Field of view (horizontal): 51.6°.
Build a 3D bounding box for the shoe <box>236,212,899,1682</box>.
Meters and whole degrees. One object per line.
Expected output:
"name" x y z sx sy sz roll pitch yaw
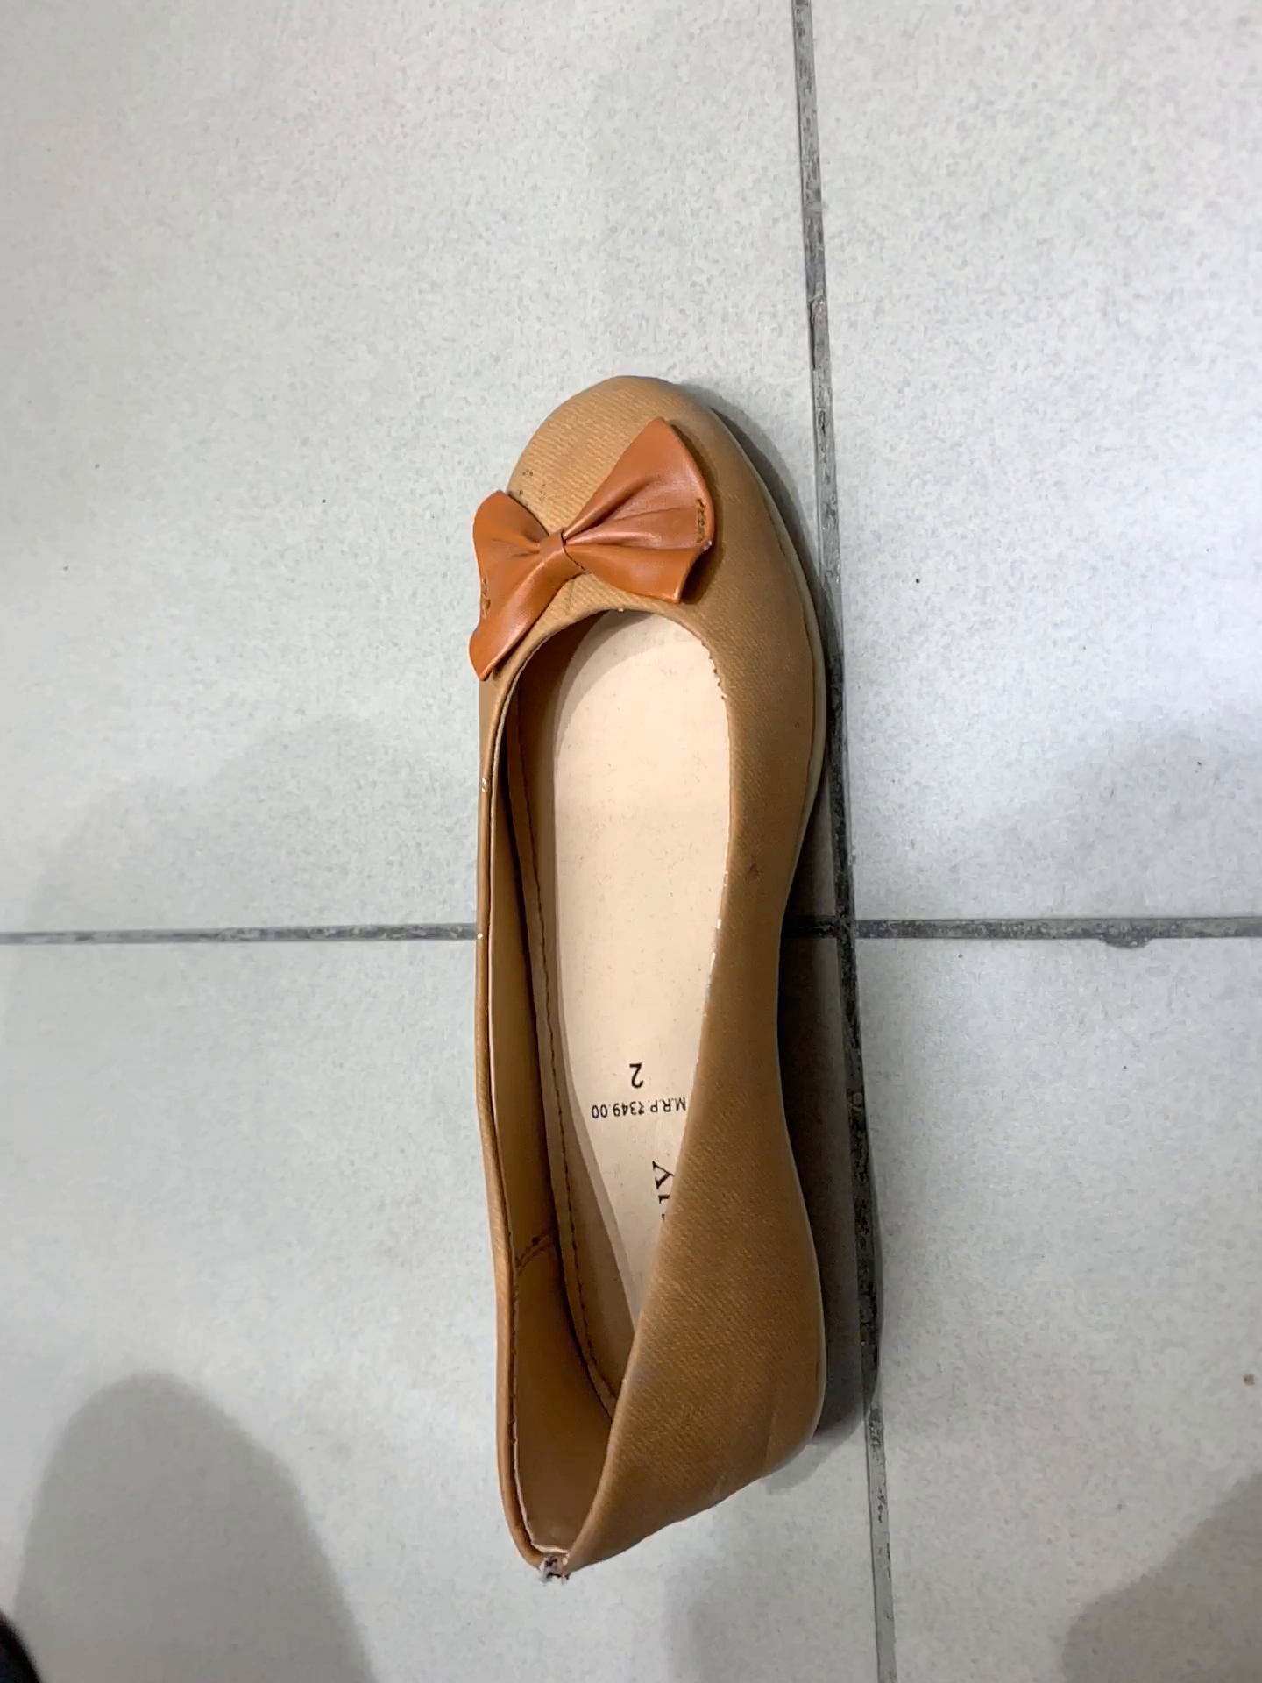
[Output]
"shoe" -0.011 0.021 0.237 0.080 0.070 0.220 -5 88 34
